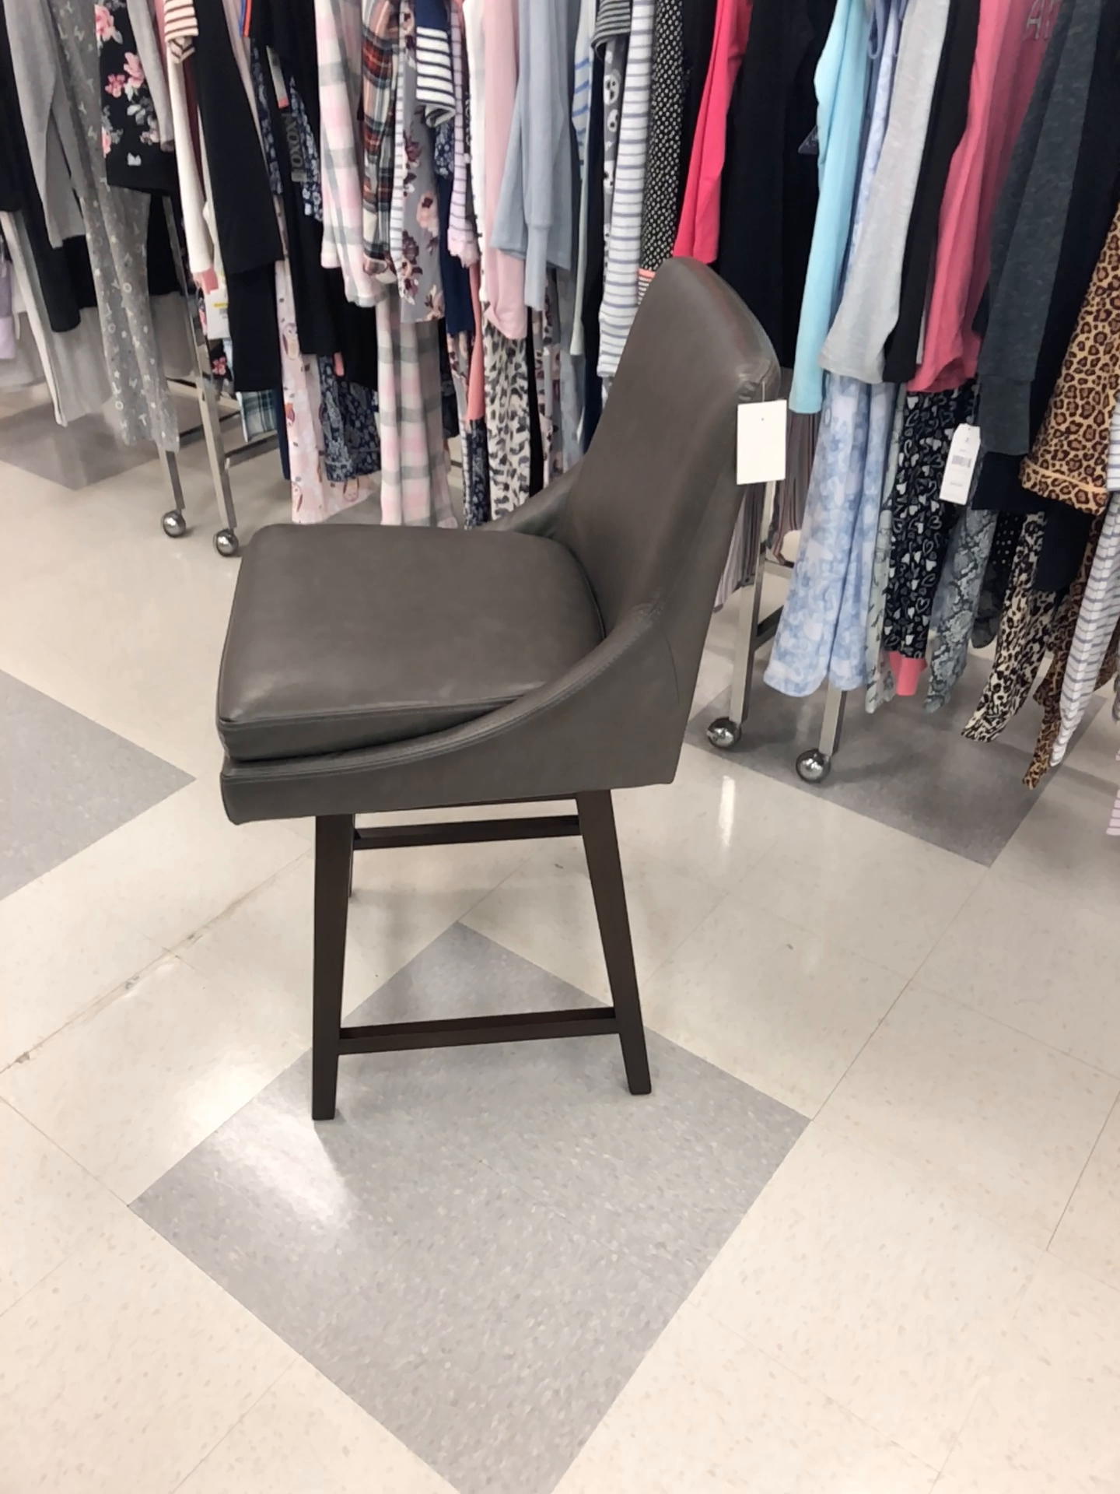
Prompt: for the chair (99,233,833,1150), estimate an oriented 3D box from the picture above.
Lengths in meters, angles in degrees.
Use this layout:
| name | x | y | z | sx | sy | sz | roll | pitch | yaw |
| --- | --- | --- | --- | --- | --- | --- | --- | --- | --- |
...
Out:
| name | x | y | z | sx | sy | sz | roll | pitch | yaw |
| --- | --- | --- | --- | --- | --- | --- | --- | --- | --- |
| chair | -0.088 | -0.048 | 1.435 | 0.578 | 0.917 | 0.495 | -3 | 36 | -4 |
